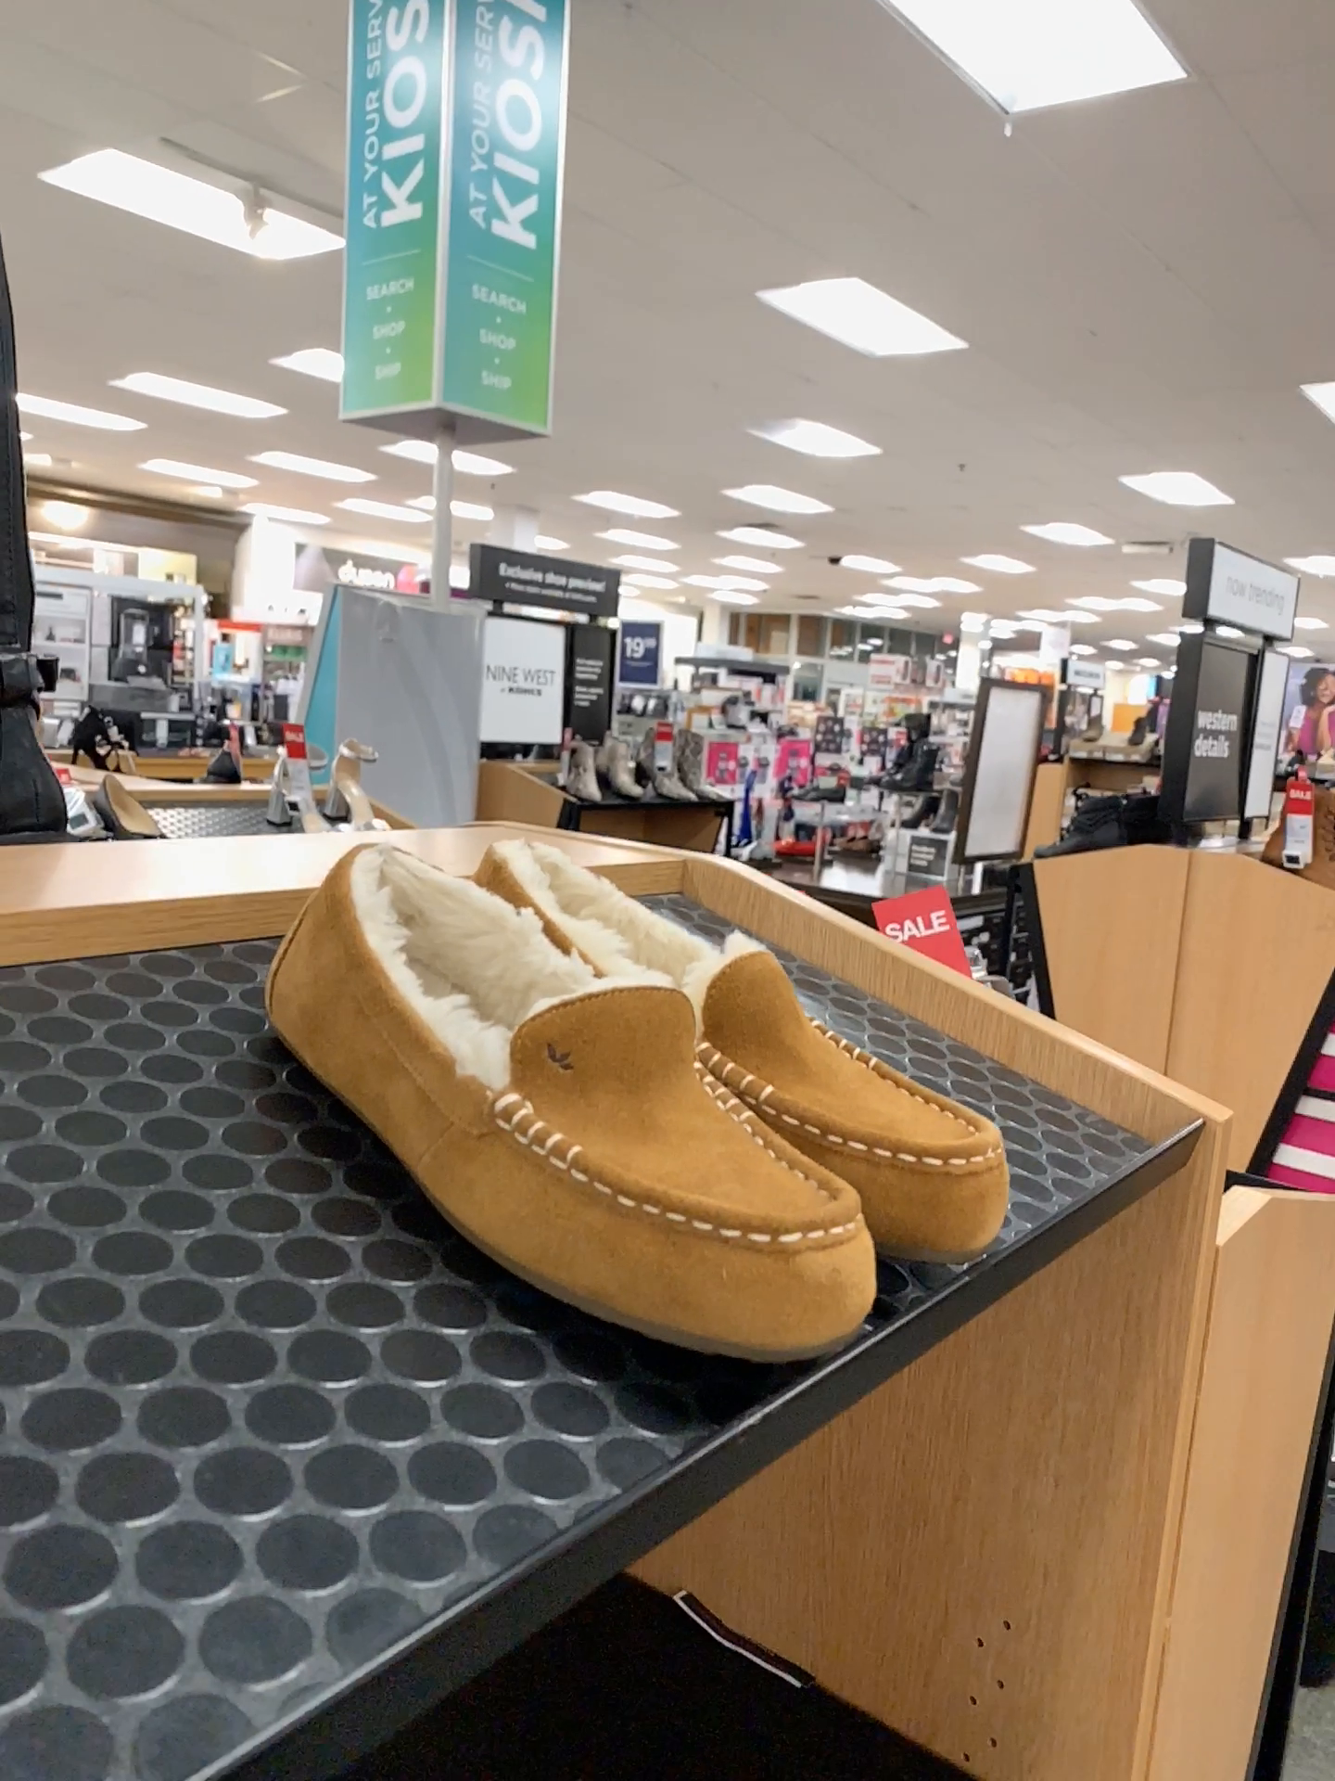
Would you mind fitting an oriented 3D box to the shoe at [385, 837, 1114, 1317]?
[{"bbox_3d":[0.018,0.049,0.492,0.251,0.060,0.090,24,18,35],"label":"shoe"}]

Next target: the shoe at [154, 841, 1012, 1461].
[{"bbox_3d":[-0.042,0.057,0.424,0.271,0.060,0.090,24,18,35],"label":"shoe"}]
